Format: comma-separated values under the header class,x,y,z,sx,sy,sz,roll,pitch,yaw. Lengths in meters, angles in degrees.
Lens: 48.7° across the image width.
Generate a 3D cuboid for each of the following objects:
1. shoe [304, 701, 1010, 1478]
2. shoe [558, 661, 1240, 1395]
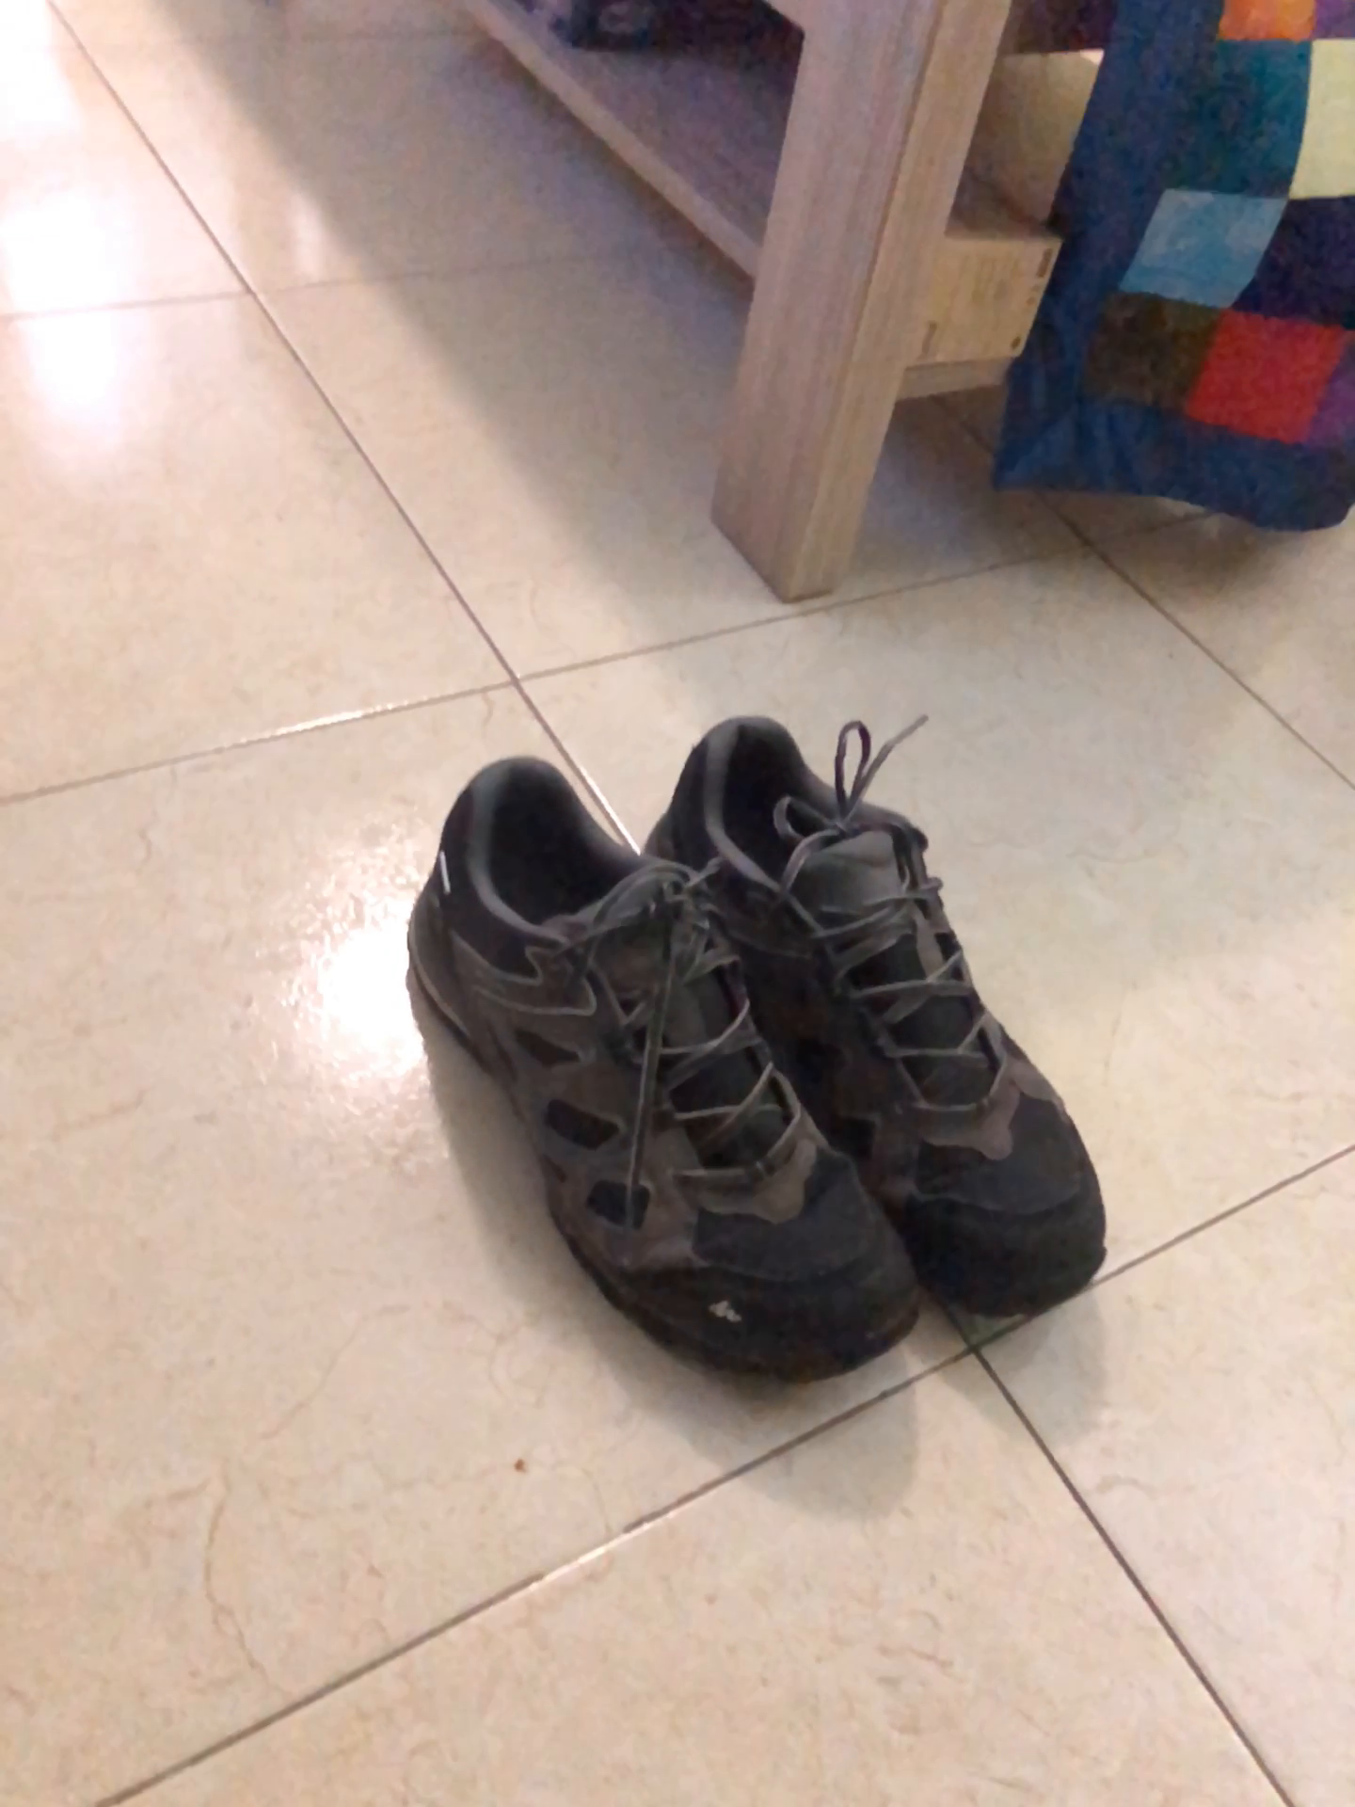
class,x,y,z,sx,sy,sz,roll,pitch,yaw
shoe,-0.026,0.064,0.644,0.120,0.110,0.310,-27,59,-31
shoe,0.080,0.041,0.679,0.120,0.110,0.310,-21,56,-27
